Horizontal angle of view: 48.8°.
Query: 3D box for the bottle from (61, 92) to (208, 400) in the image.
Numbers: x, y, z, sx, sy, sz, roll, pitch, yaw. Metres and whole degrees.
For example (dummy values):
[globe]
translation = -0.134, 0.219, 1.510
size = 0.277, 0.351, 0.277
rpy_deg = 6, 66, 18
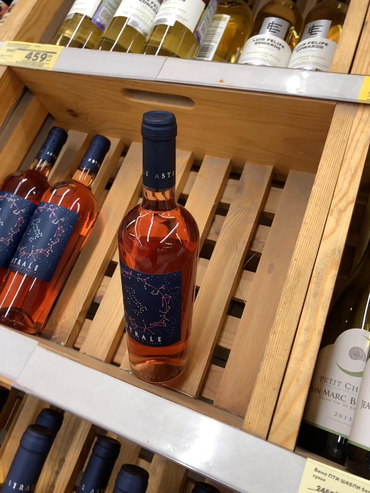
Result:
[bottle]
translation = -0.037, 0.015, 0.396
size = 0.080, 0.288, 0.080
rpy_deg = 0, 36, 0
